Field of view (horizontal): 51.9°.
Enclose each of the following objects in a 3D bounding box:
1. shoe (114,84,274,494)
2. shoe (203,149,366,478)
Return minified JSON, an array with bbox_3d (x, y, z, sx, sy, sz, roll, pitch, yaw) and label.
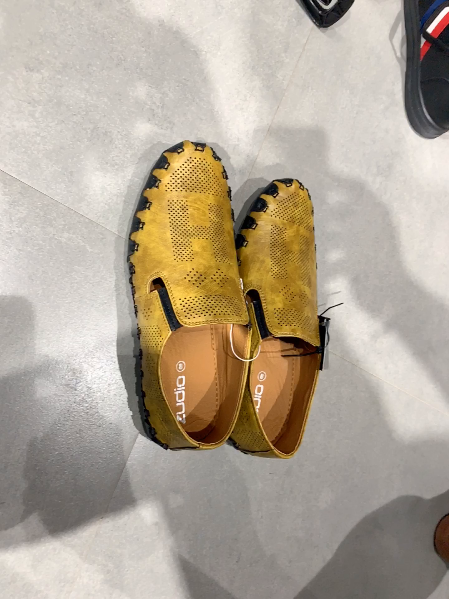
[{"bbox_3d":[-0.033,-0.007,0.436,0.100,0.120,0.320,2,88,-29],"label":"shoe"},{"bbox_3d":[0.061,0.016,0.466,0.110,0.080,0.290,8,86,-28],"label":"shoe"}]
